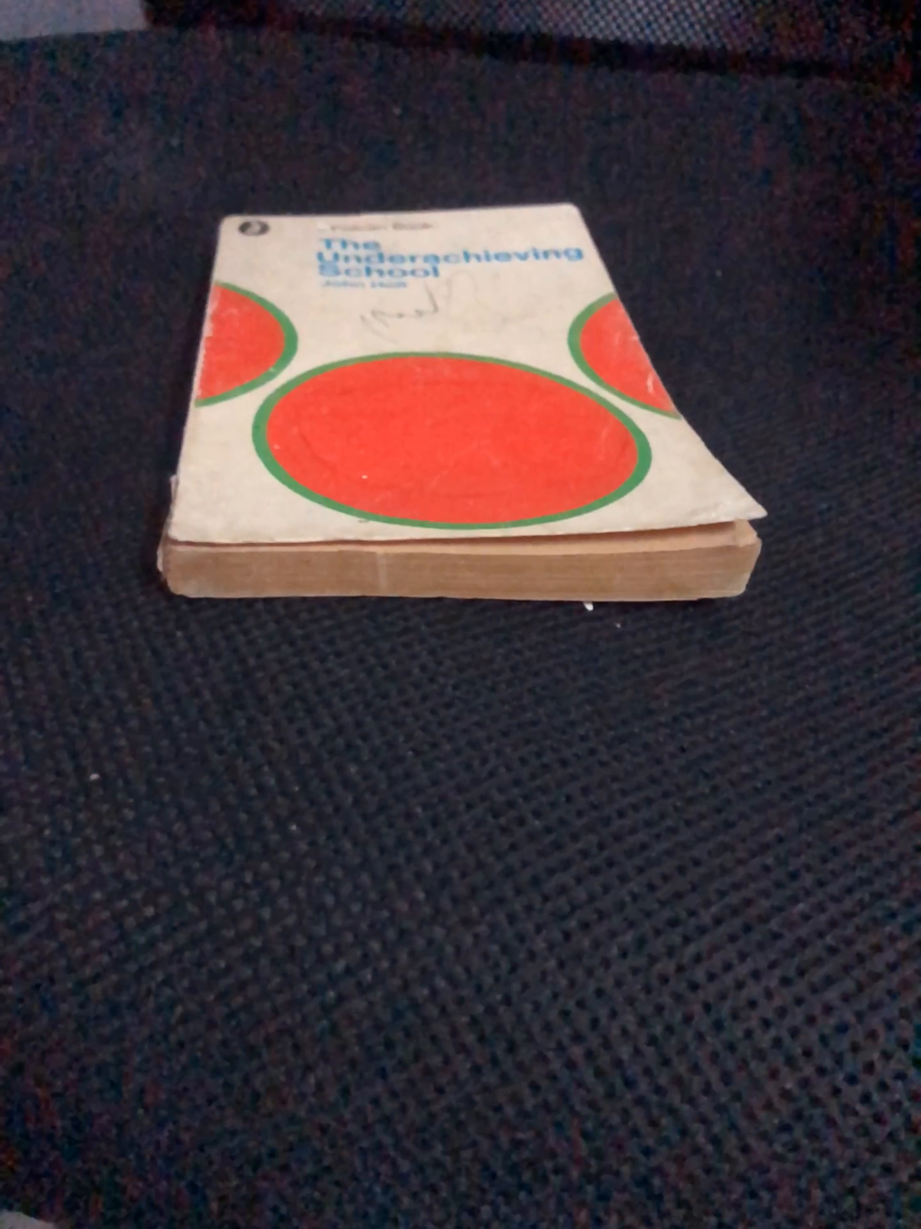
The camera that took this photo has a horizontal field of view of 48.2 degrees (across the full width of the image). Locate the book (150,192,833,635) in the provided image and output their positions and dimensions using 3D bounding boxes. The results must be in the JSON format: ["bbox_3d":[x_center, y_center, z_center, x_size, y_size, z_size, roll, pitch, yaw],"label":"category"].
[{"bbox_3d":[-0.003,-0.064,0.255,0.120,0.020,0.182,-2,40,-7],"label":"book"}]
